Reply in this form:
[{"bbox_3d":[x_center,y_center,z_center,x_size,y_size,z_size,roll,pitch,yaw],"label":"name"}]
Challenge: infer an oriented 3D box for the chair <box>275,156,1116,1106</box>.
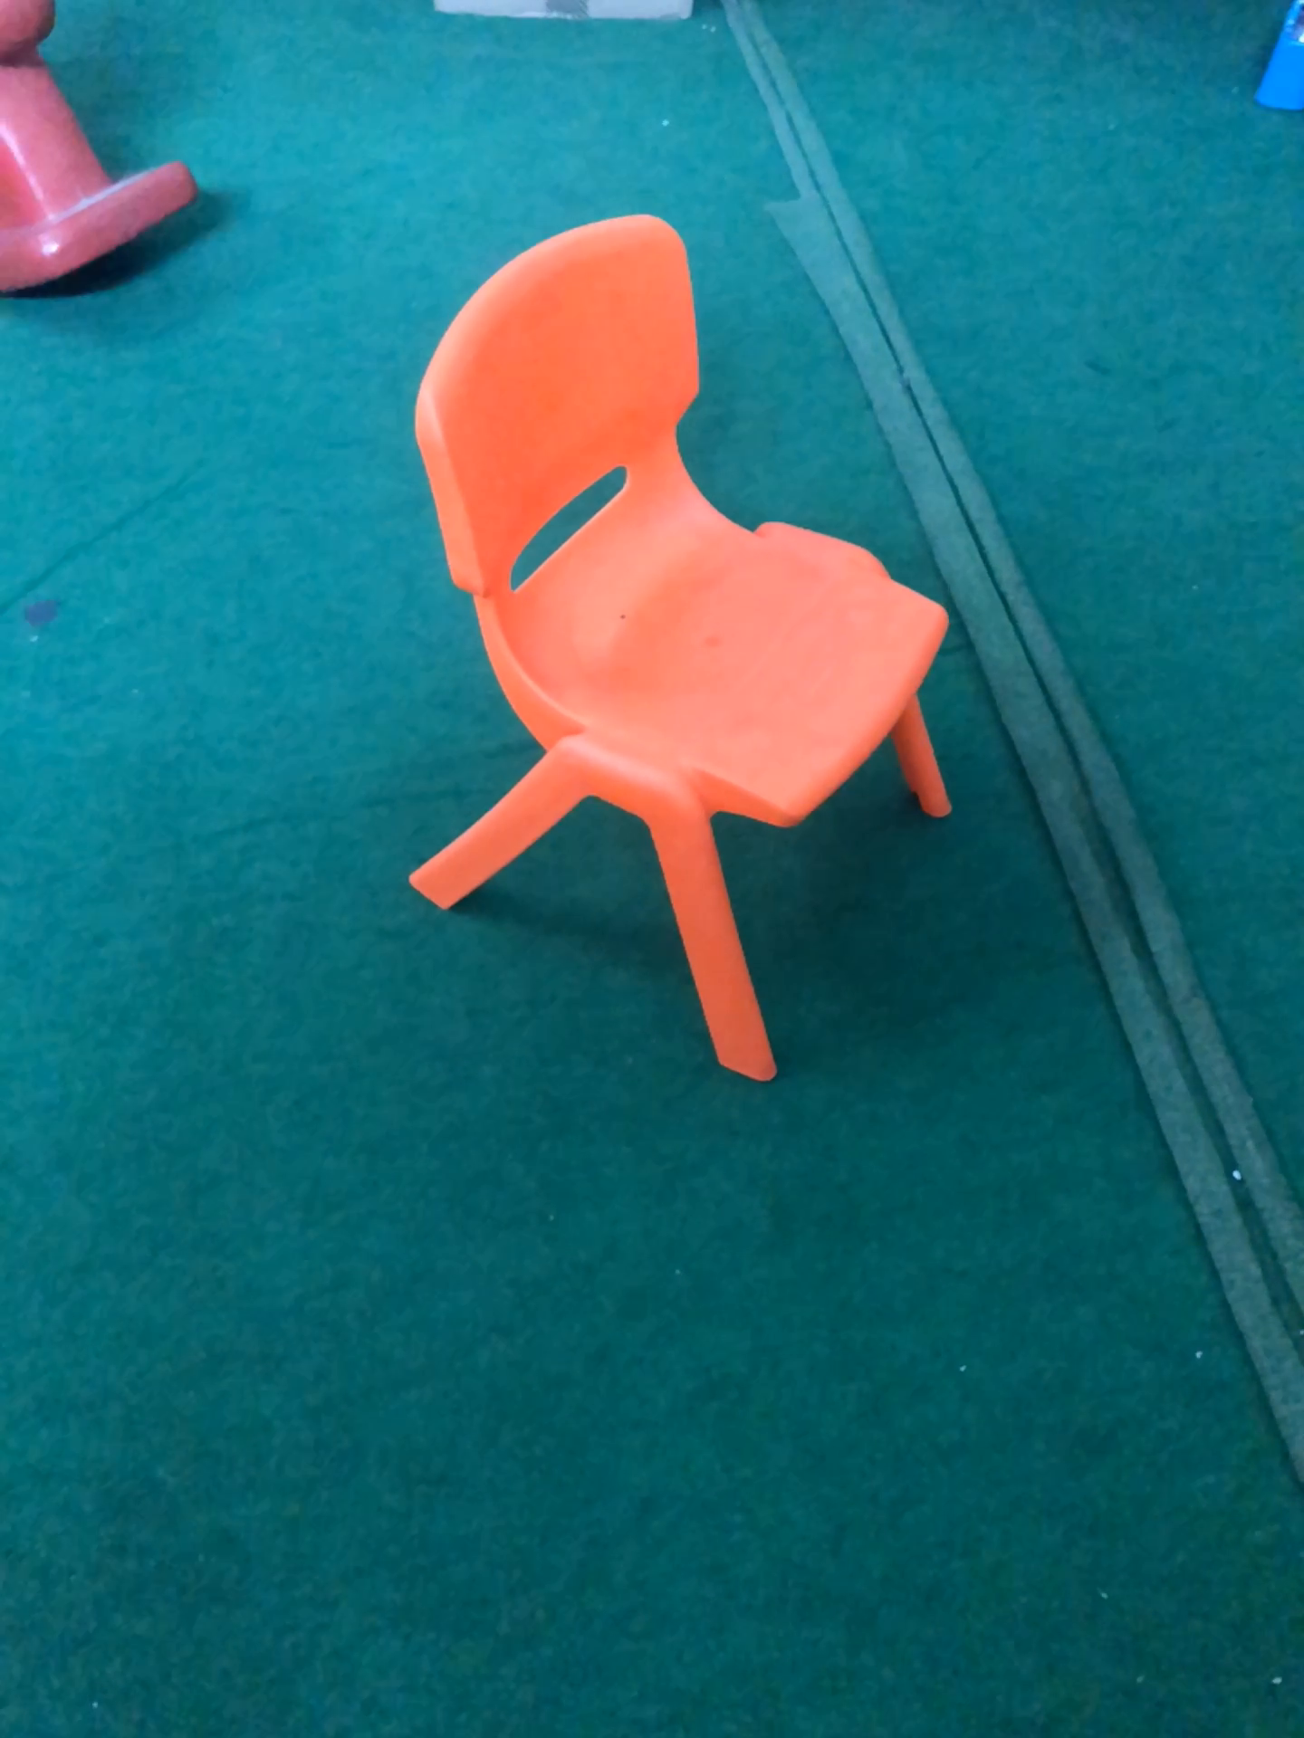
[{"bbox_3d":[0.033,-0.170,1.071,0.390,0.479,0.361,26,54,19],"label":"chair"}]
